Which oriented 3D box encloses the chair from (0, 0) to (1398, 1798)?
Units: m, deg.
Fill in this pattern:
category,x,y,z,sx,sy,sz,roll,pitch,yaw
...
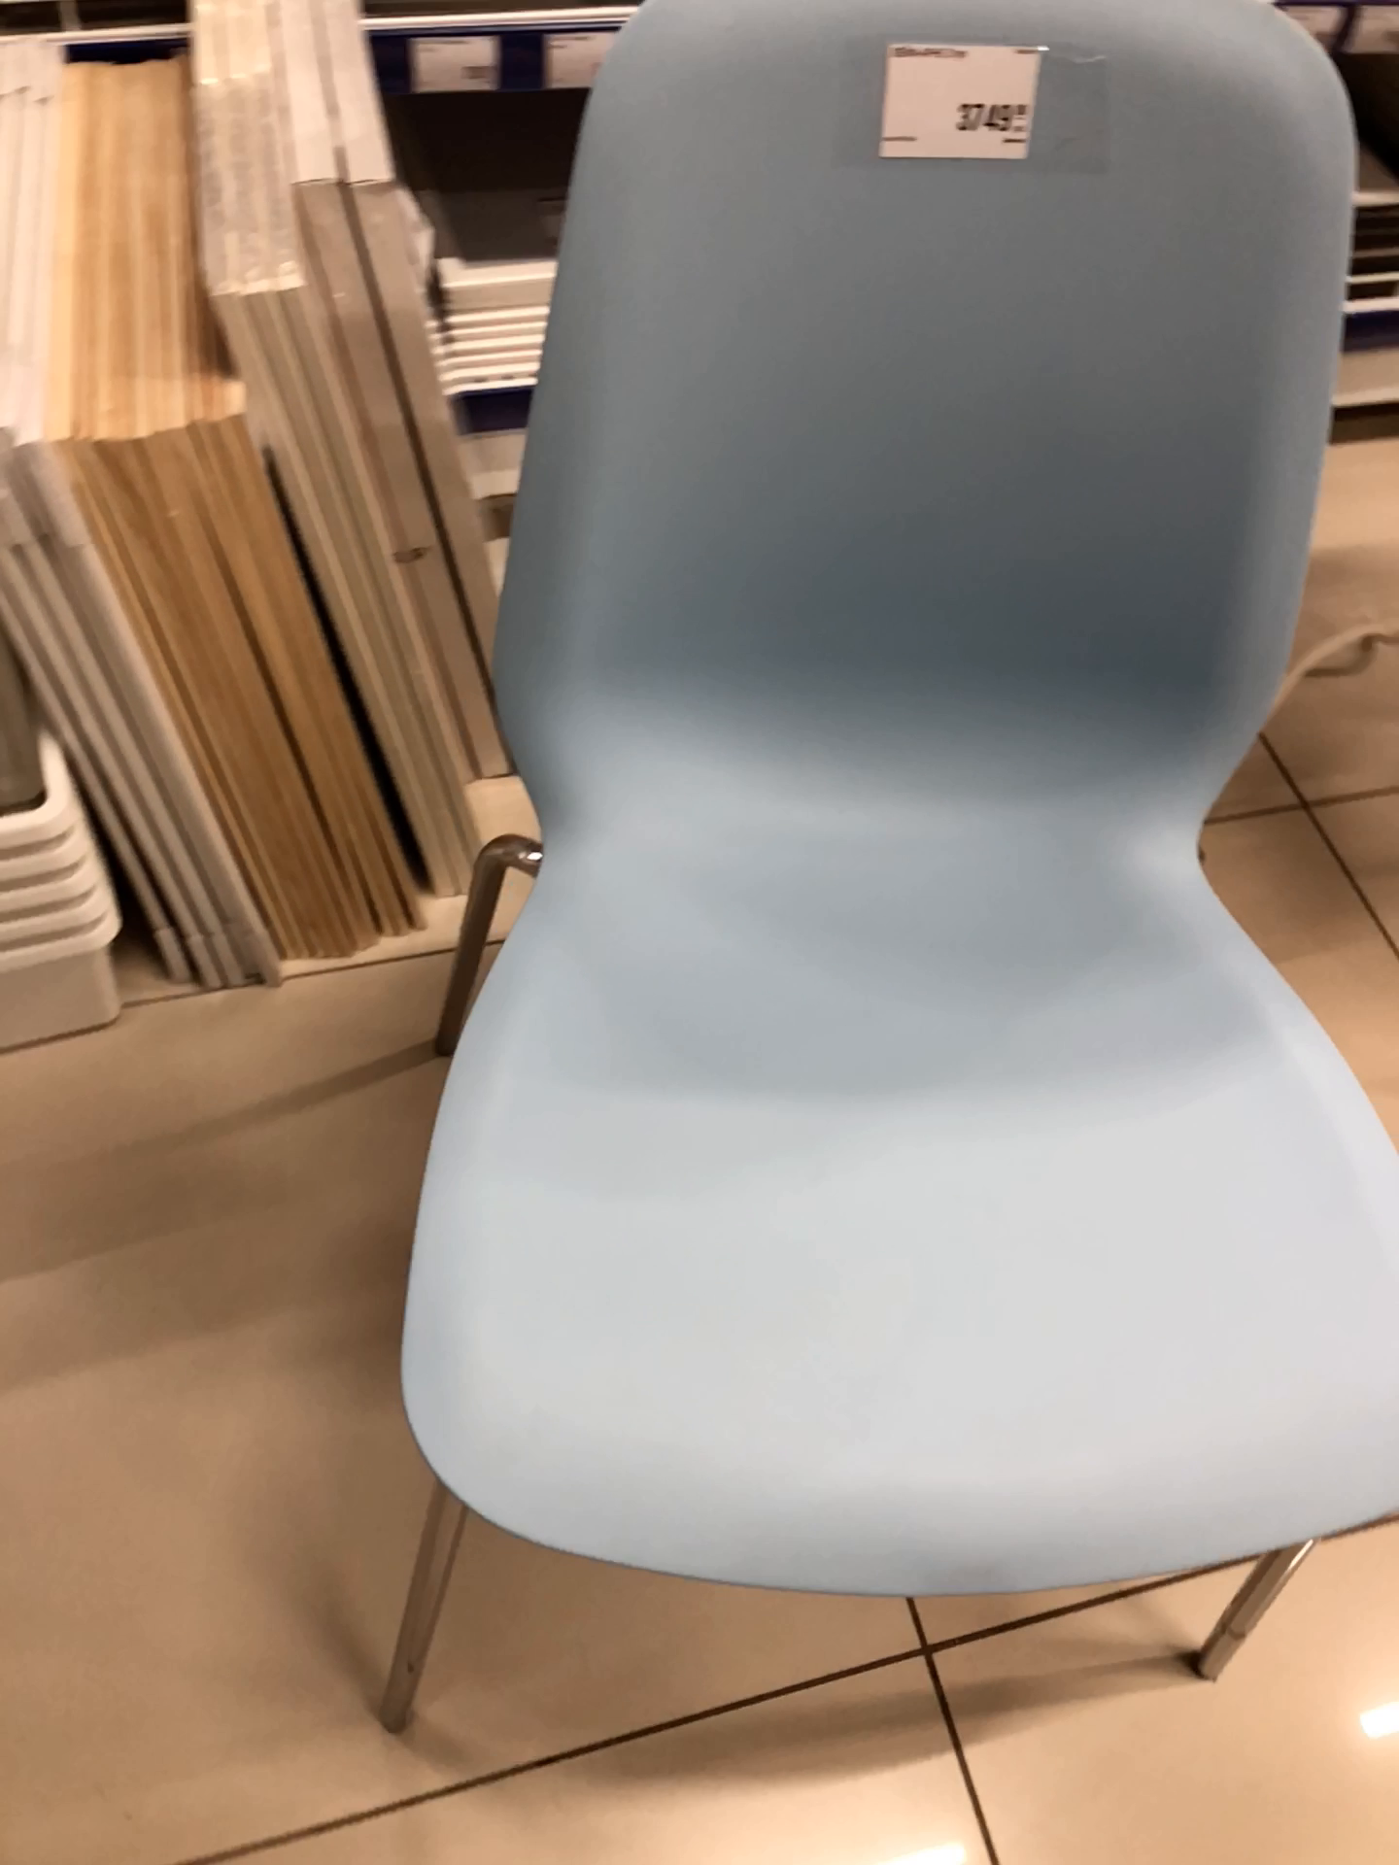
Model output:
category,x,y,z,sx,sy,sz,roll,pitch,yaw
chair,0.079,0.041,0.770,0.560,0.755,0.543,-3,54,-8
